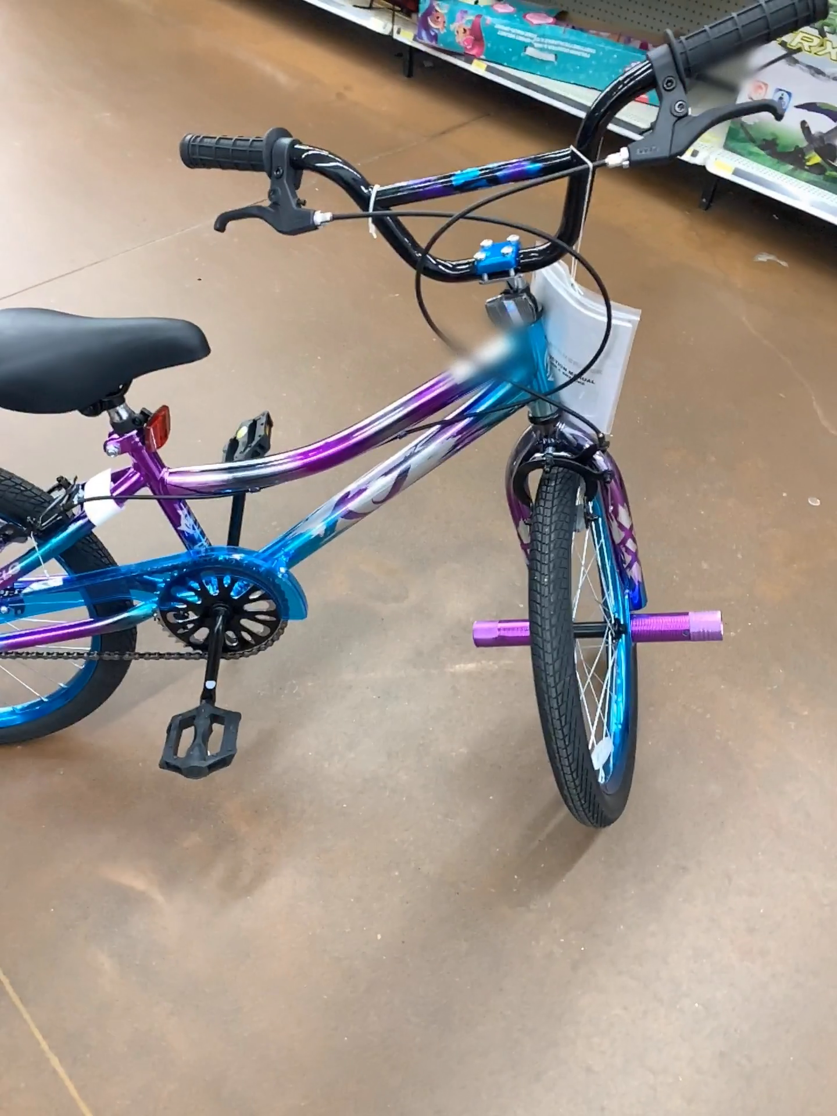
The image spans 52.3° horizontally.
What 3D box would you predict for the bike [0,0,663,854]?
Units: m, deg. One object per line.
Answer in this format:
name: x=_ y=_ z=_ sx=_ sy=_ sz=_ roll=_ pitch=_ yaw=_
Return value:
bike: x=-0.367 y=-0.151 z=0.930 sx=0.933 sy=0.931 sz=0.580 roll=2 pitch=48 yaw=-4
